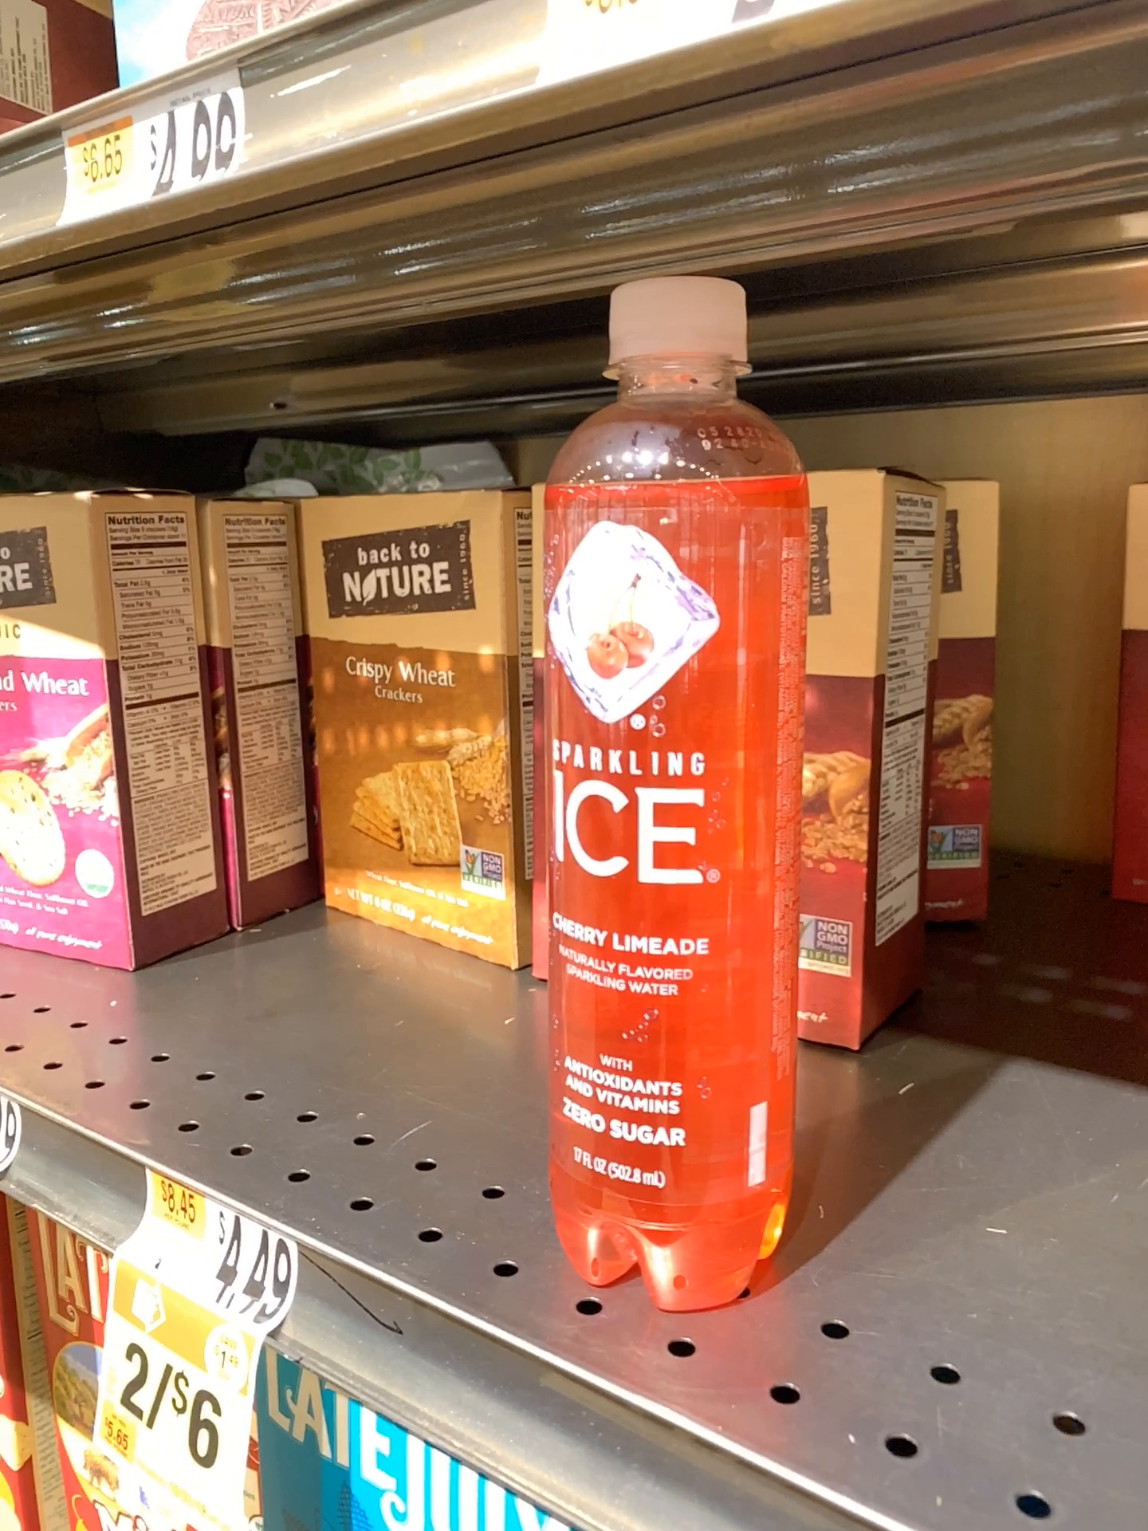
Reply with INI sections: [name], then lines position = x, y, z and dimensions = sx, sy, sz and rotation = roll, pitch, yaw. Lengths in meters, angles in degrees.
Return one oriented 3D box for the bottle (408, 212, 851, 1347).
[bottle]
position = 0.015, 0.004, 0.255
dimensions = 0.066, 0.211, 0.060
rotation = -2, 13, 0
